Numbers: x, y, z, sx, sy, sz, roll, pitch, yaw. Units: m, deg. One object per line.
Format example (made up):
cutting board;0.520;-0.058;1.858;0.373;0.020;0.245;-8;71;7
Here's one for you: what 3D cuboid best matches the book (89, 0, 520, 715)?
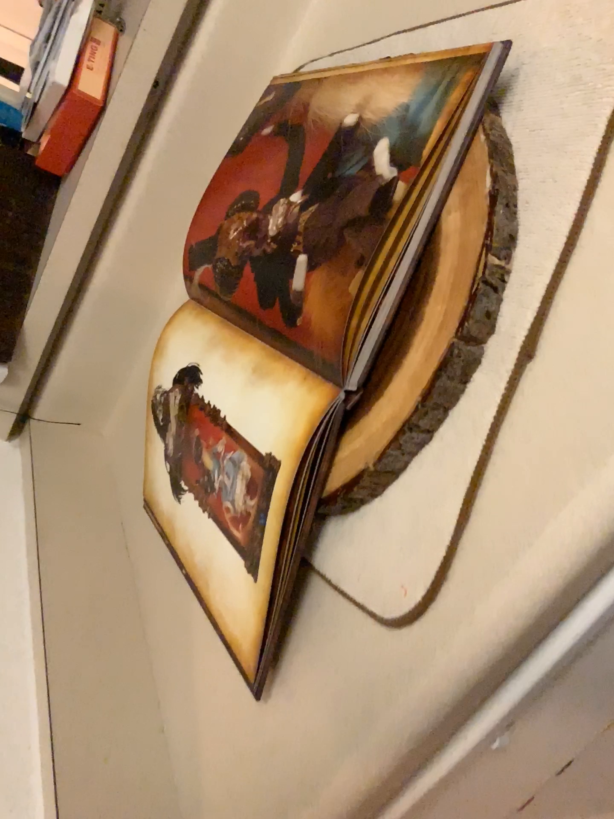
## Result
book;-0.055;-0.068;0.558;0.340;0.040;0.470;34;107;55
